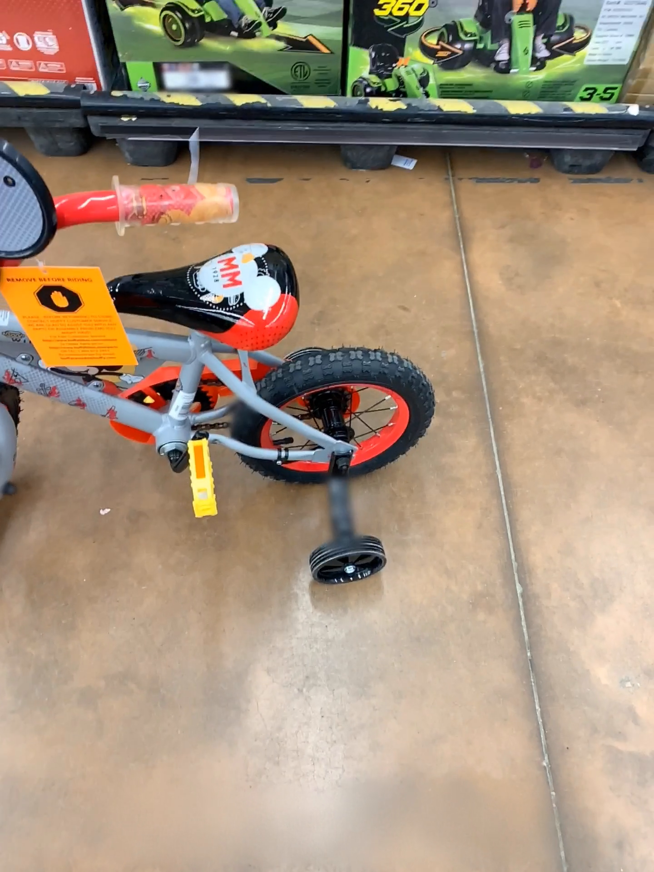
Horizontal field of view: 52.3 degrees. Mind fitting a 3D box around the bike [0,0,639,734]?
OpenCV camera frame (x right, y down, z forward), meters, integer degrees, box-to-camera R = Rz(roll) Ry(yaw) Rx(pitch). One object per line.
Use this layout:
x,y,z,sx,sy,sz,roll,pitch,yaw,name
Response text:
-0.203,-0.086,0.749,0.641,0.689,0.453,-15,56,-8,bike
